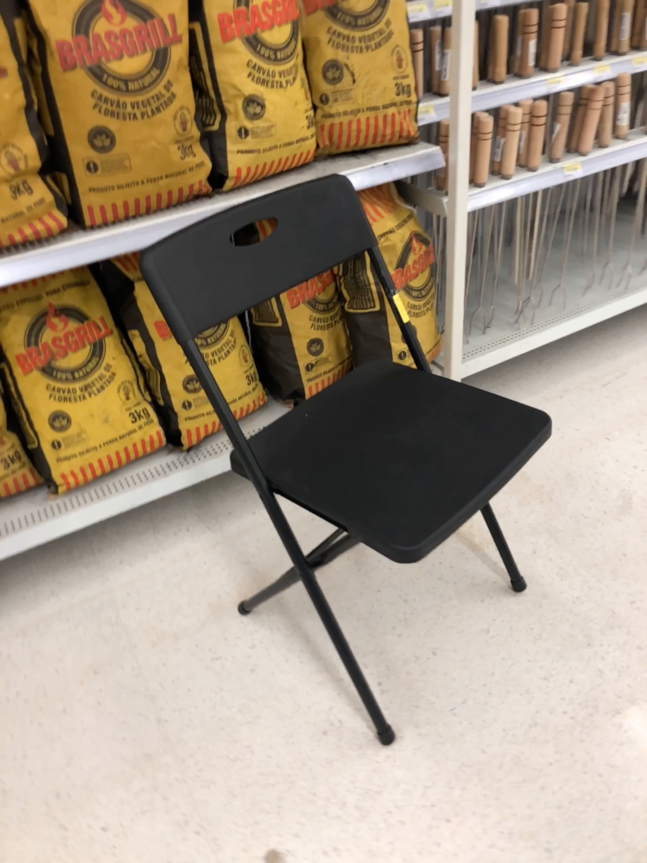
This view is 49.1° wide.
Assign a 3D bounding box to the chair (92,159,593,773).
[{"bbox_3d":[0.055,0.028,1.110,0.452,0.714,0.462,24,45,36],"label":"chair"}]
